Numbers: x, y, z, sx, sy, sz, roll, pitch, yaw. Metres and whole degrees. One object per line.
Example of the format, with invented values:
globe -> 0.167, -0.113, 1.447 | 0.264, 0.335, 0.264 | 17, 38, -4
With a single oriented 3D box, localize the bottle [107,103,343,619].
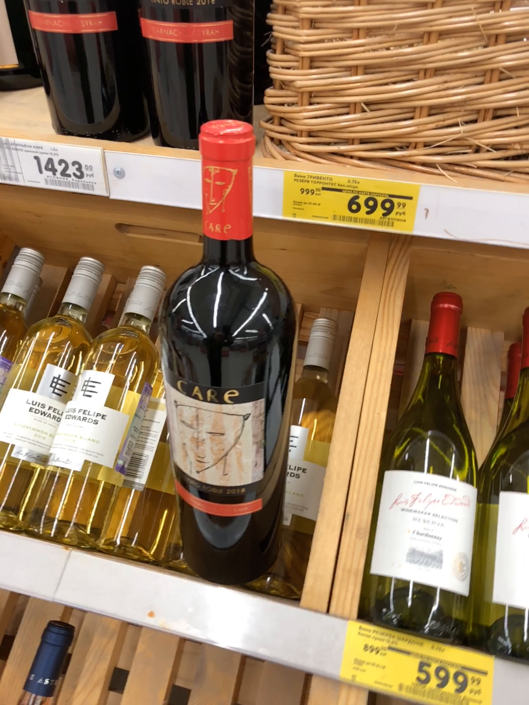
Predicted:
bottle -> -0.022, 0.026, 0.418 | 0.100, 0.358, 0.101 | 2, 33, -1
